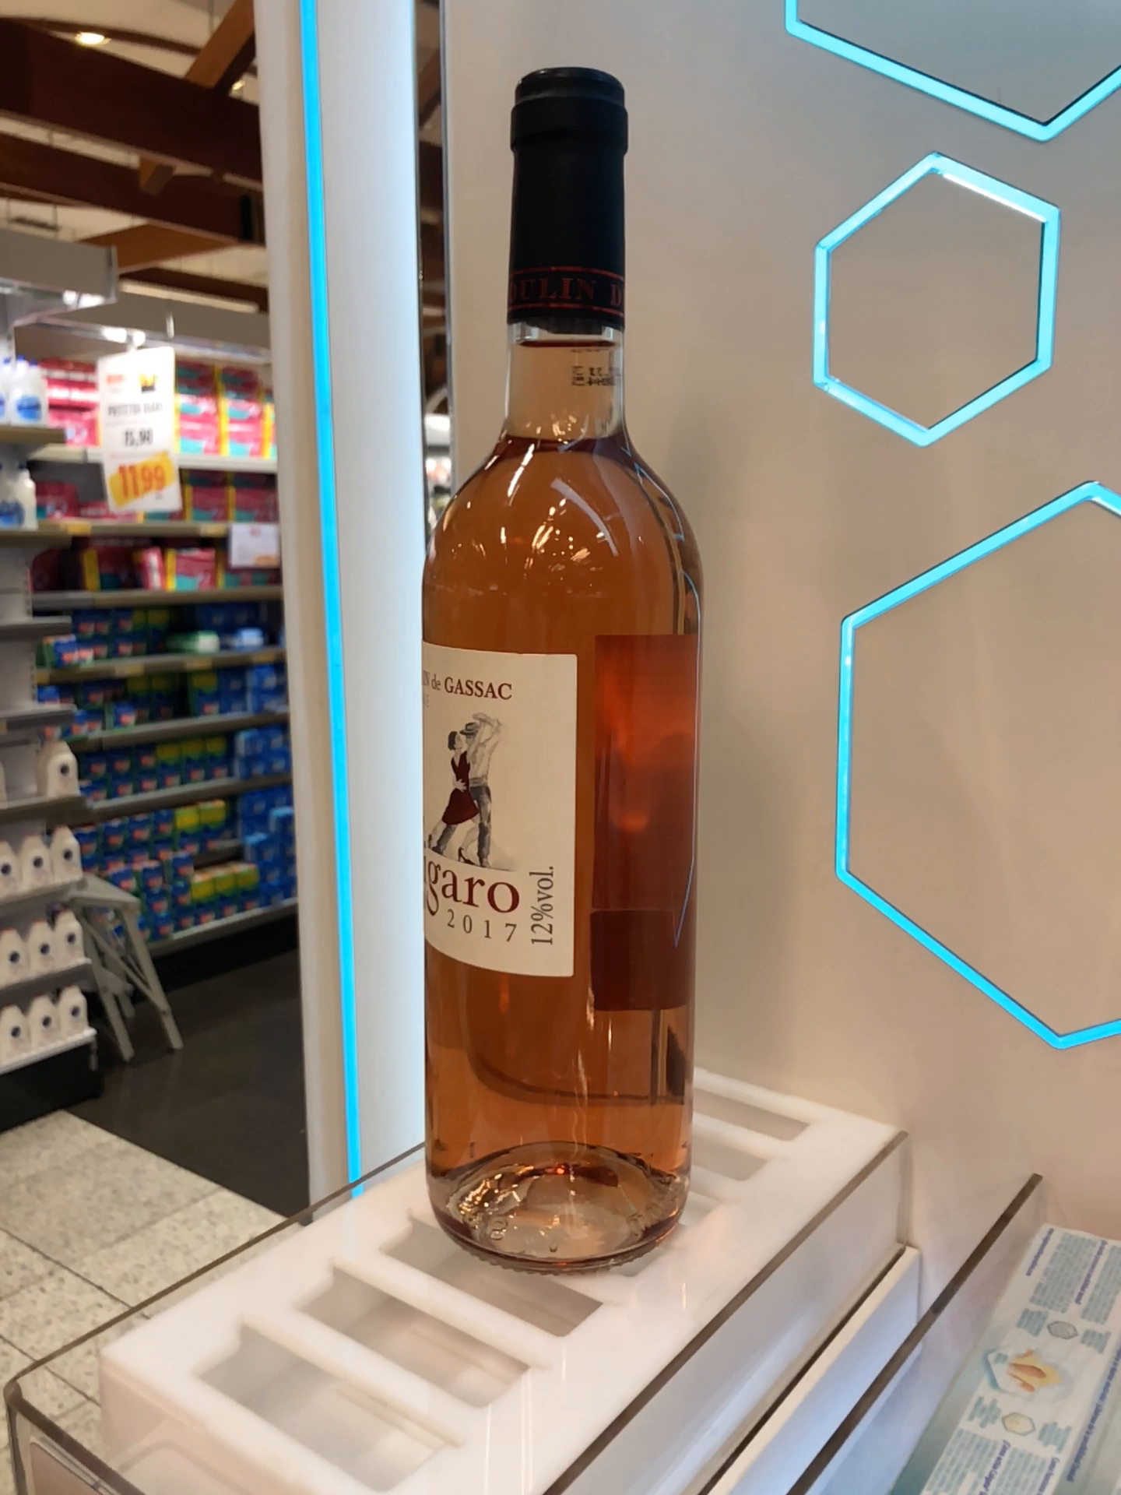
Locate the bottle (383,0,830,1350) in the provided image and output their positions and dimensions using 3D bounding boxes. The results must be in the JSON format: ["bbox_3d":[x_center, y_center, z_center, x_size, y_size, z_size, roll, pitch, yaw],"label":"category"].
[{"bbox_3d":[0.007,-0.018,0.347,0.080,0.319,0.090,-4,9,-34],"label":"bottle"}]
